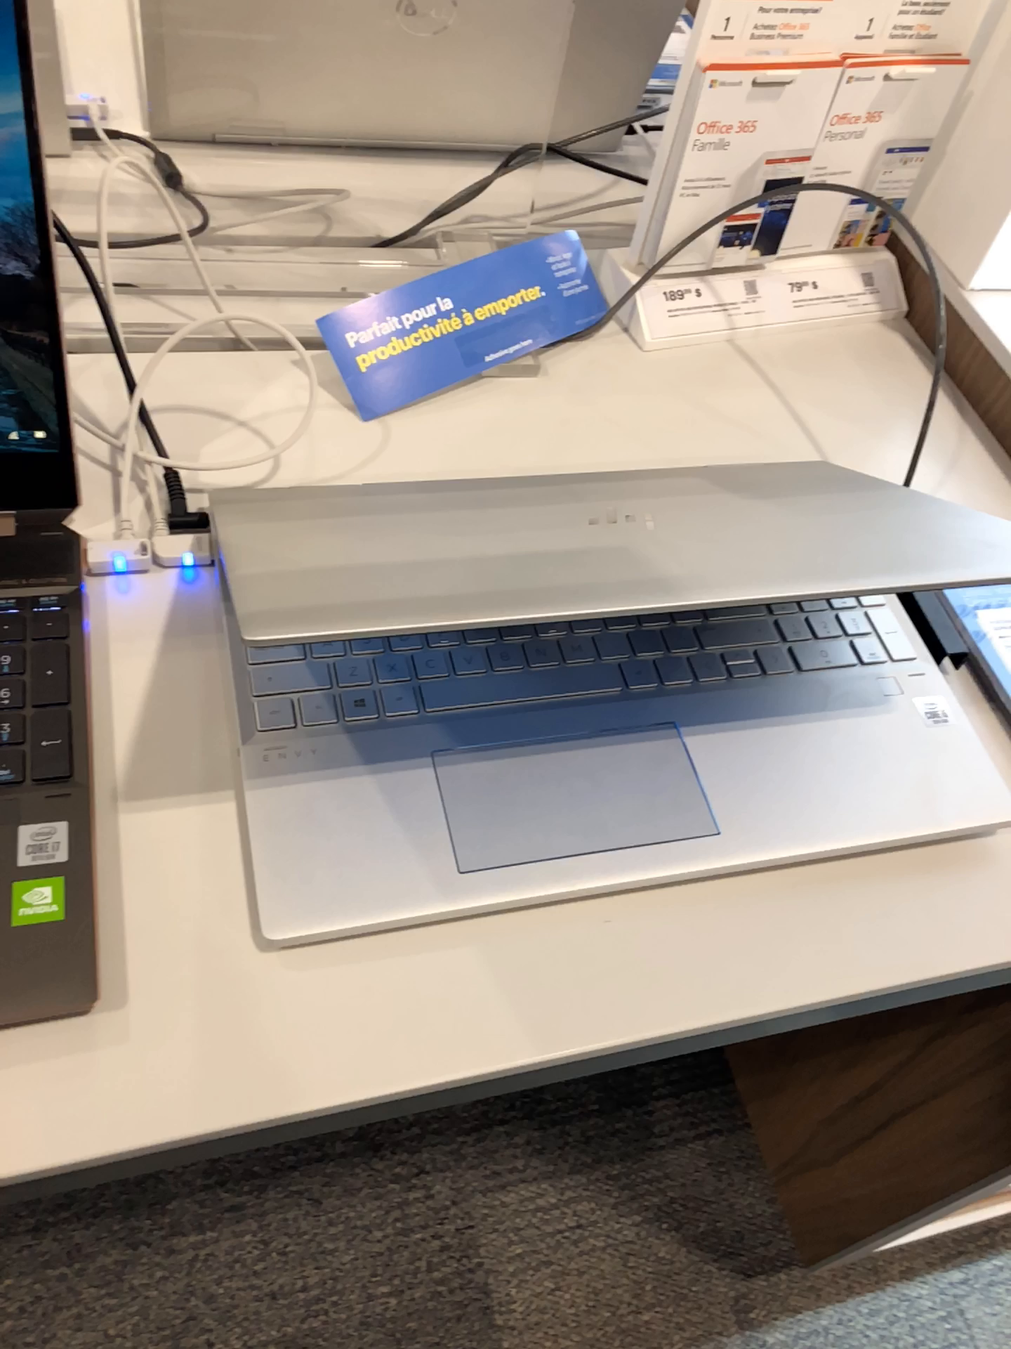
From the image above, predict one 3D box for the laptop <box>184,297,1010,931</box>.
[{"bbox_3d":[0.051,-0.044,0.487,0.346,0.116,0.230,-5,55,-15],"label":"laptop"}]
